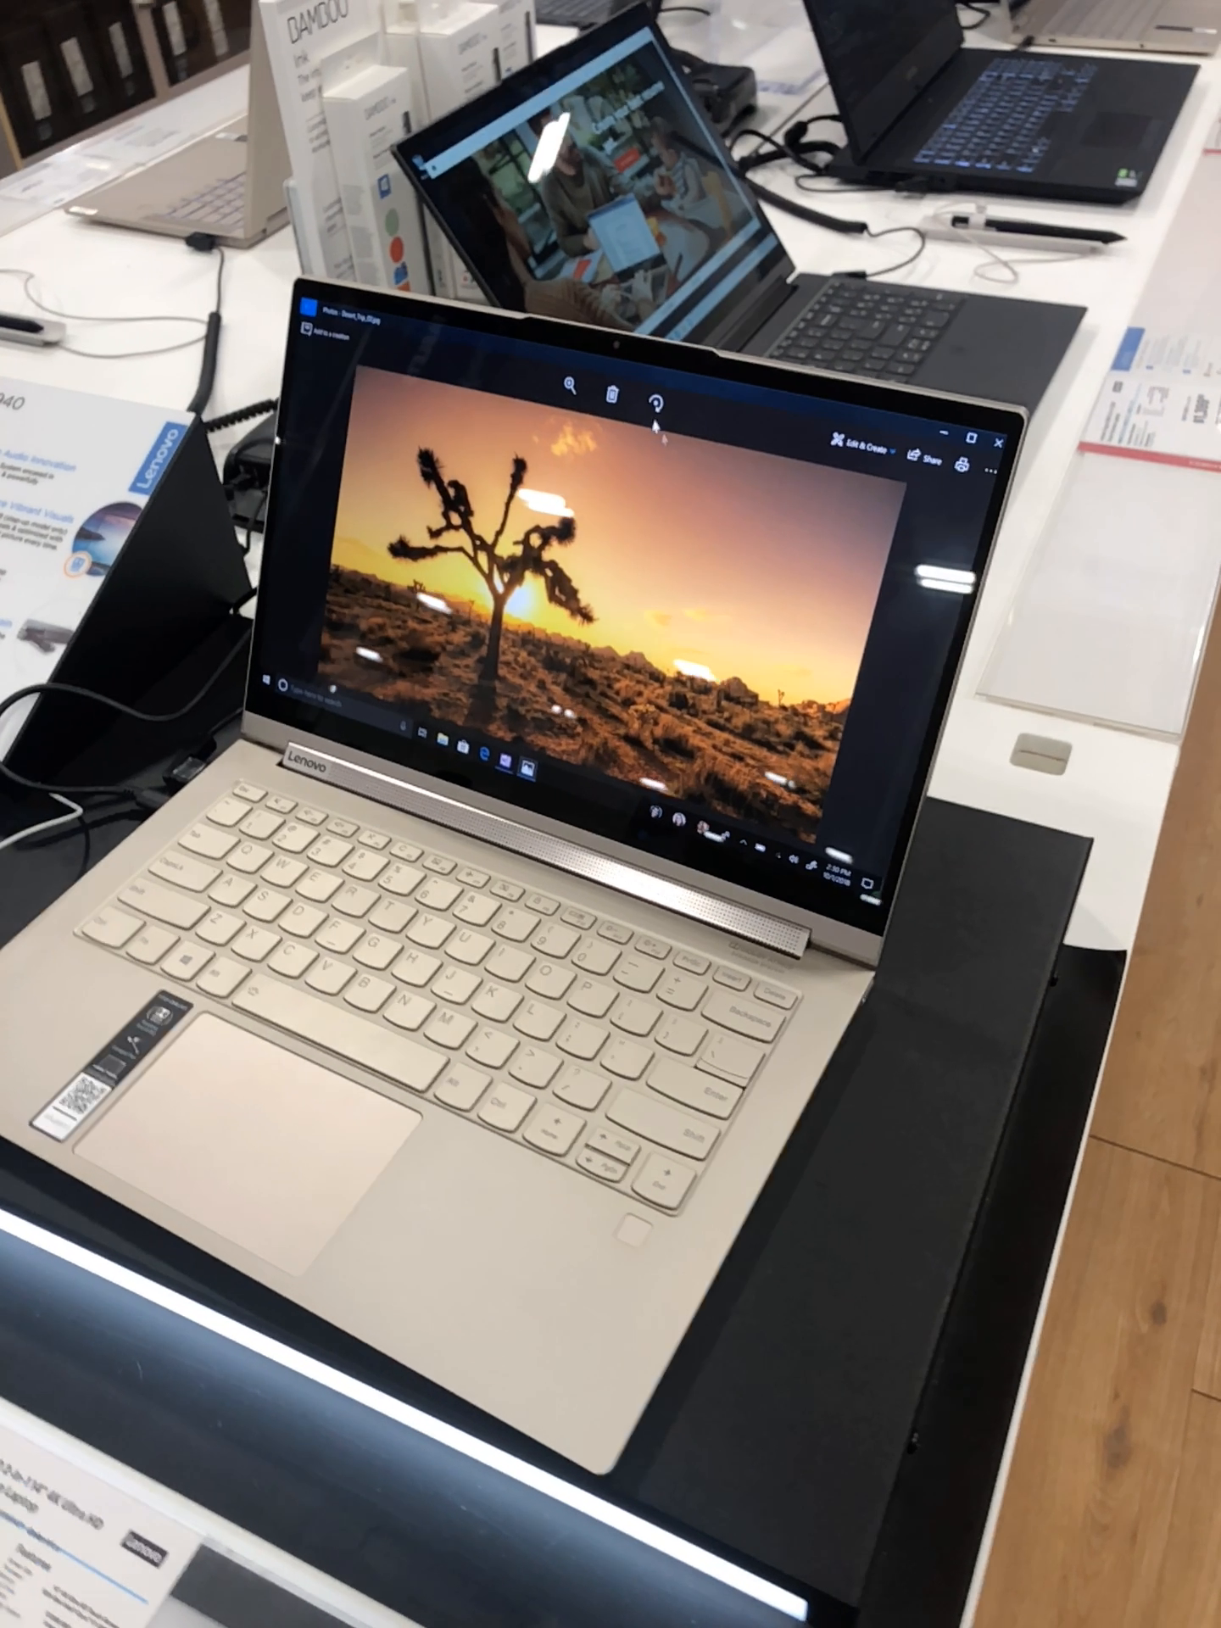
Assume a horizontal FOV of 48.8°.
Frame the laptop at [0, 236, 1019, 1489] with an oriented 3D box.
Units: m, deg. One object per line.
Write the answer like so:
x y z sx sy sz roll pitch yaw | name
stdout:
-0.072 -0.031 0.487 0.320 0.170 0.327 20 51 24 | laptop
